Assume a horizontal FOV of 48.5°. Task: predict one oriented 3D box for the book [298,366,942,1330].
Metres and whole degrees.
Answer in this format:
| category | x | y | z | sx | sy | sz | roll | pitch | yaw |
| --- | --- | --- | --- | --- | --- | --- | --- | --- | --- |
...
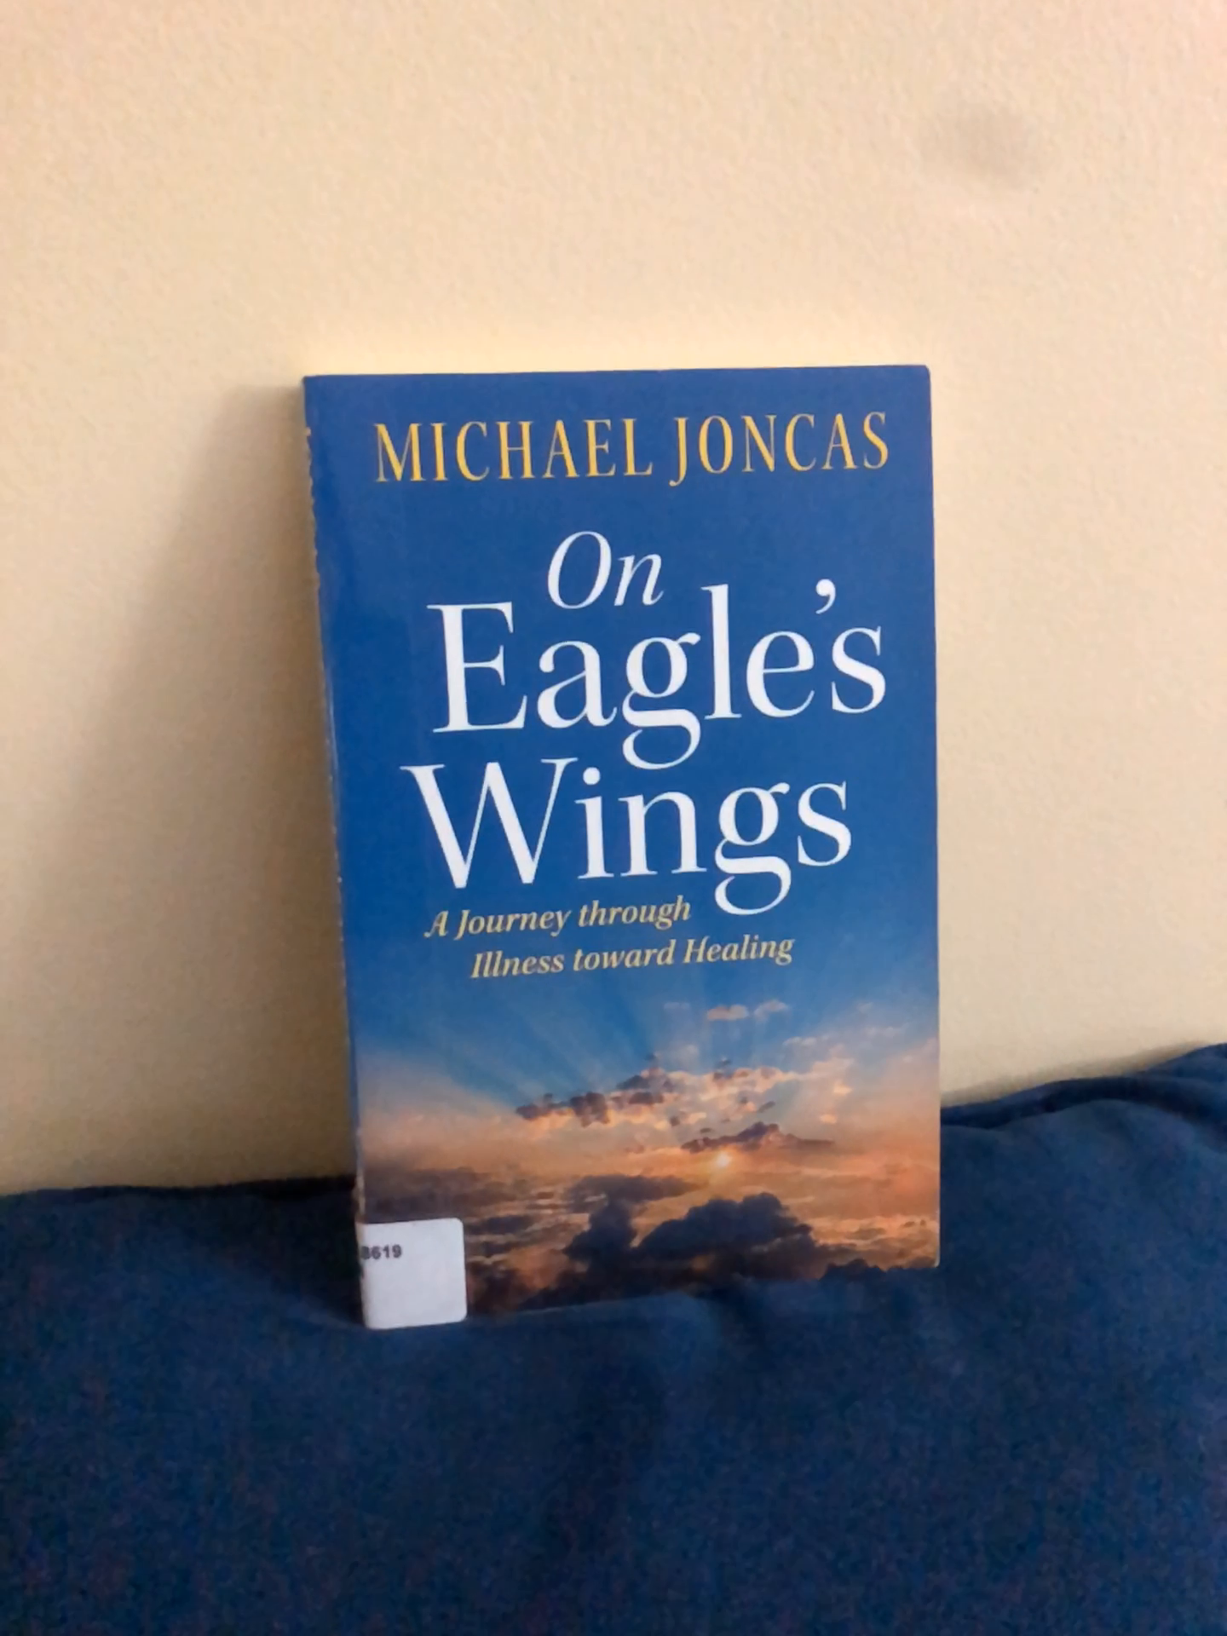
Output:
| category | x | y | z | sx | sy | sz | roll | pitch | yaw |
| --- | --- | --- | --- | --- | --- | --- | --- | --- | --- |
| book | 0.005 | 0.006 | 0.313 | 0.139 | 0.210 | 0.014 | -3 | 6 | -9 |
